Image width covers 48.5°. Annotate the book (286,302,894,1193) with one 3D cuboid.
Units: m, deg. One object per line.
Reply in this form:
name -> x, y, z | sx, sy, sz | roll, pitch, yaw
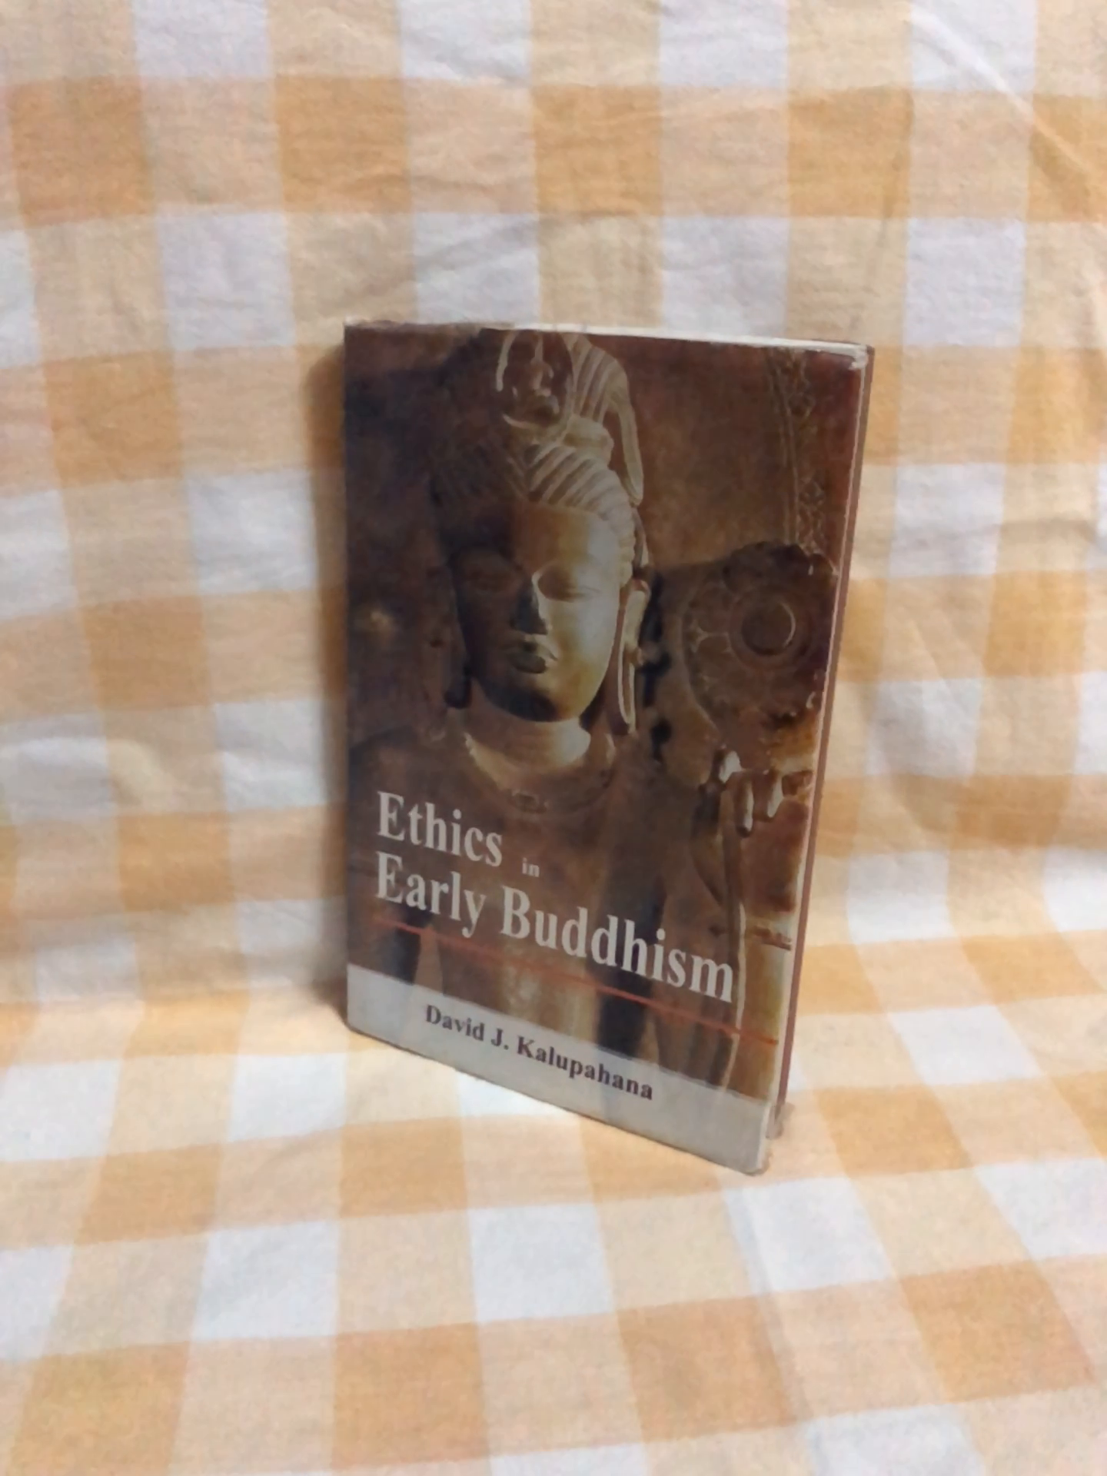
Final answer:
book -> -0.002, 0.002, 0.348 | 0.160, 0.229, 0.020 | 13, 23, 25
